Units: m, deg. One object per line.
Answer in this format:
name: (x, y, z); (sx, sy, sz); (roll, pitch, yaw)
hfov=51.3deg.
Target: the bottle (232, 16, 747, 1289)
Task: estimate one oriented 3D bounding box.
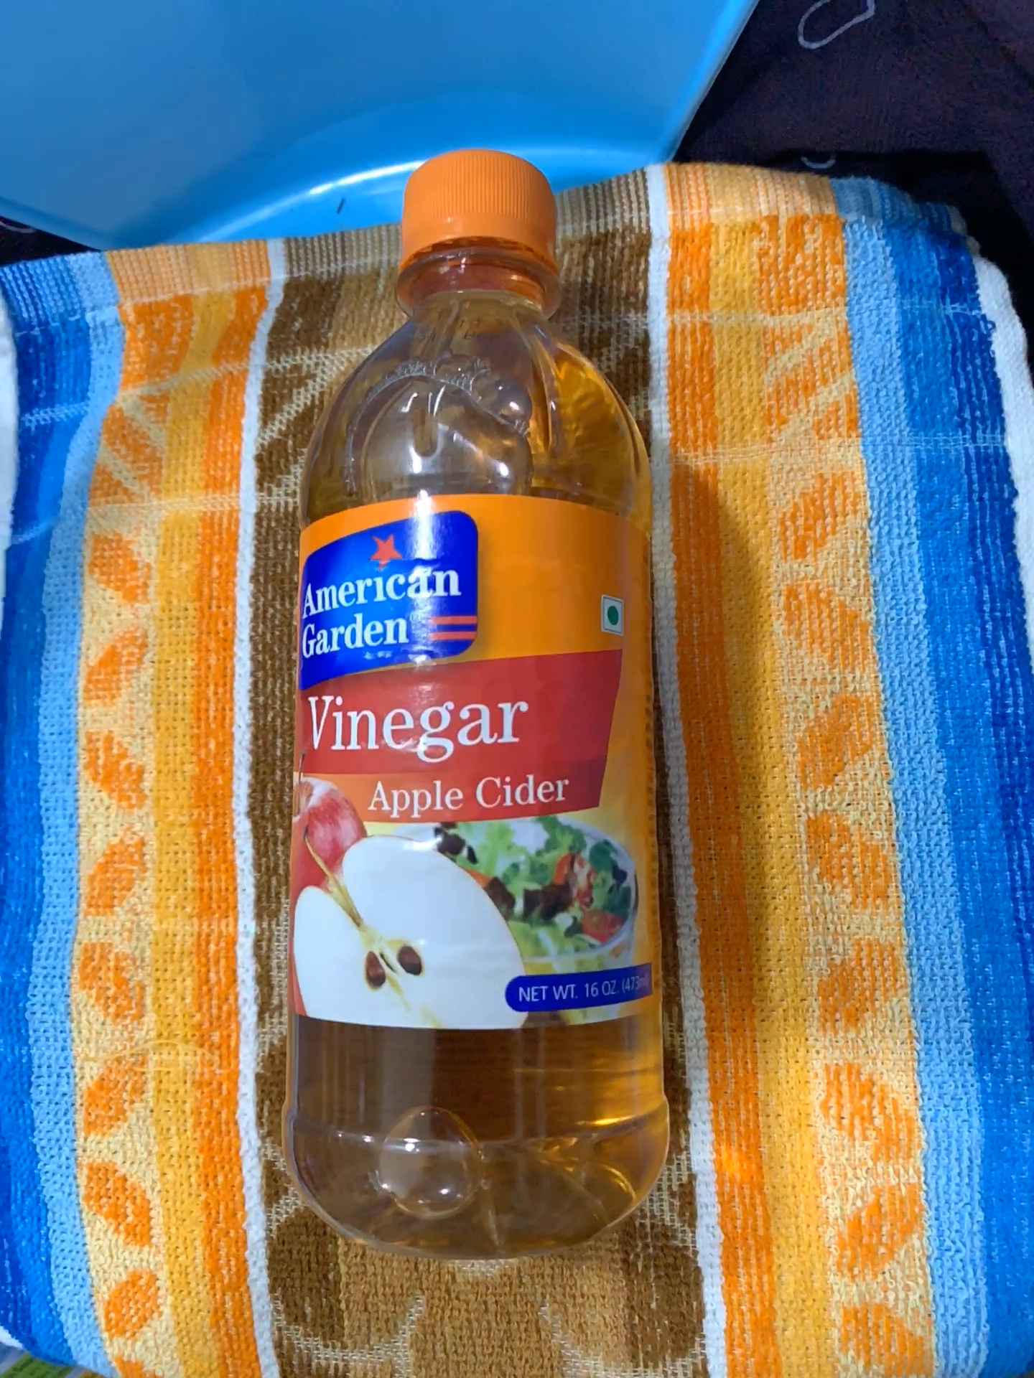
bottle: (-0.005, -0.006, 0.188); (0.070, 0.050, 0.180); (-5, 83, 24)
